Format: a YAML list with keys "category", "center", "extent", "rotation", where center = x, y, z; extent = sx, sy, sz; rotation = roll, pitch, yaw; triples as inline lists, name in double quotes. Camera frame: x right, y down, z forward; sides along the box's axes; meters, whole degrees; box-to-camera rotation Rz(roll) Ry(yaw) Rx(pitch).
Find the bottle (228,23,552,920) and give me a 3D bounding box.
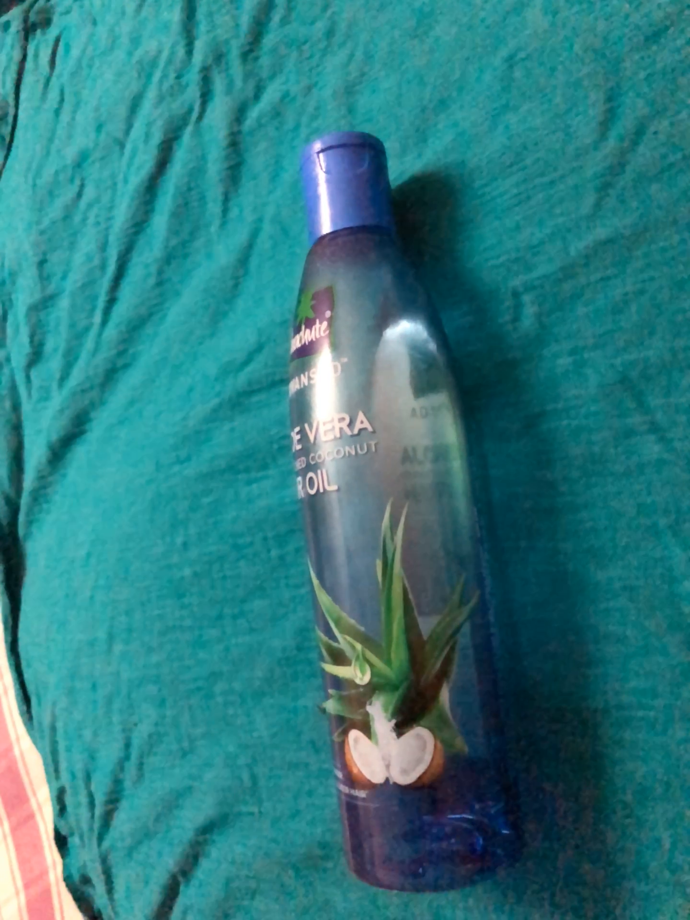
- category: "bottle"
  center: [0.007, 0.002, 0.204]
  extent: [0.050, 0.040, 0.210]
  rotation: [-16, 78, 51]
